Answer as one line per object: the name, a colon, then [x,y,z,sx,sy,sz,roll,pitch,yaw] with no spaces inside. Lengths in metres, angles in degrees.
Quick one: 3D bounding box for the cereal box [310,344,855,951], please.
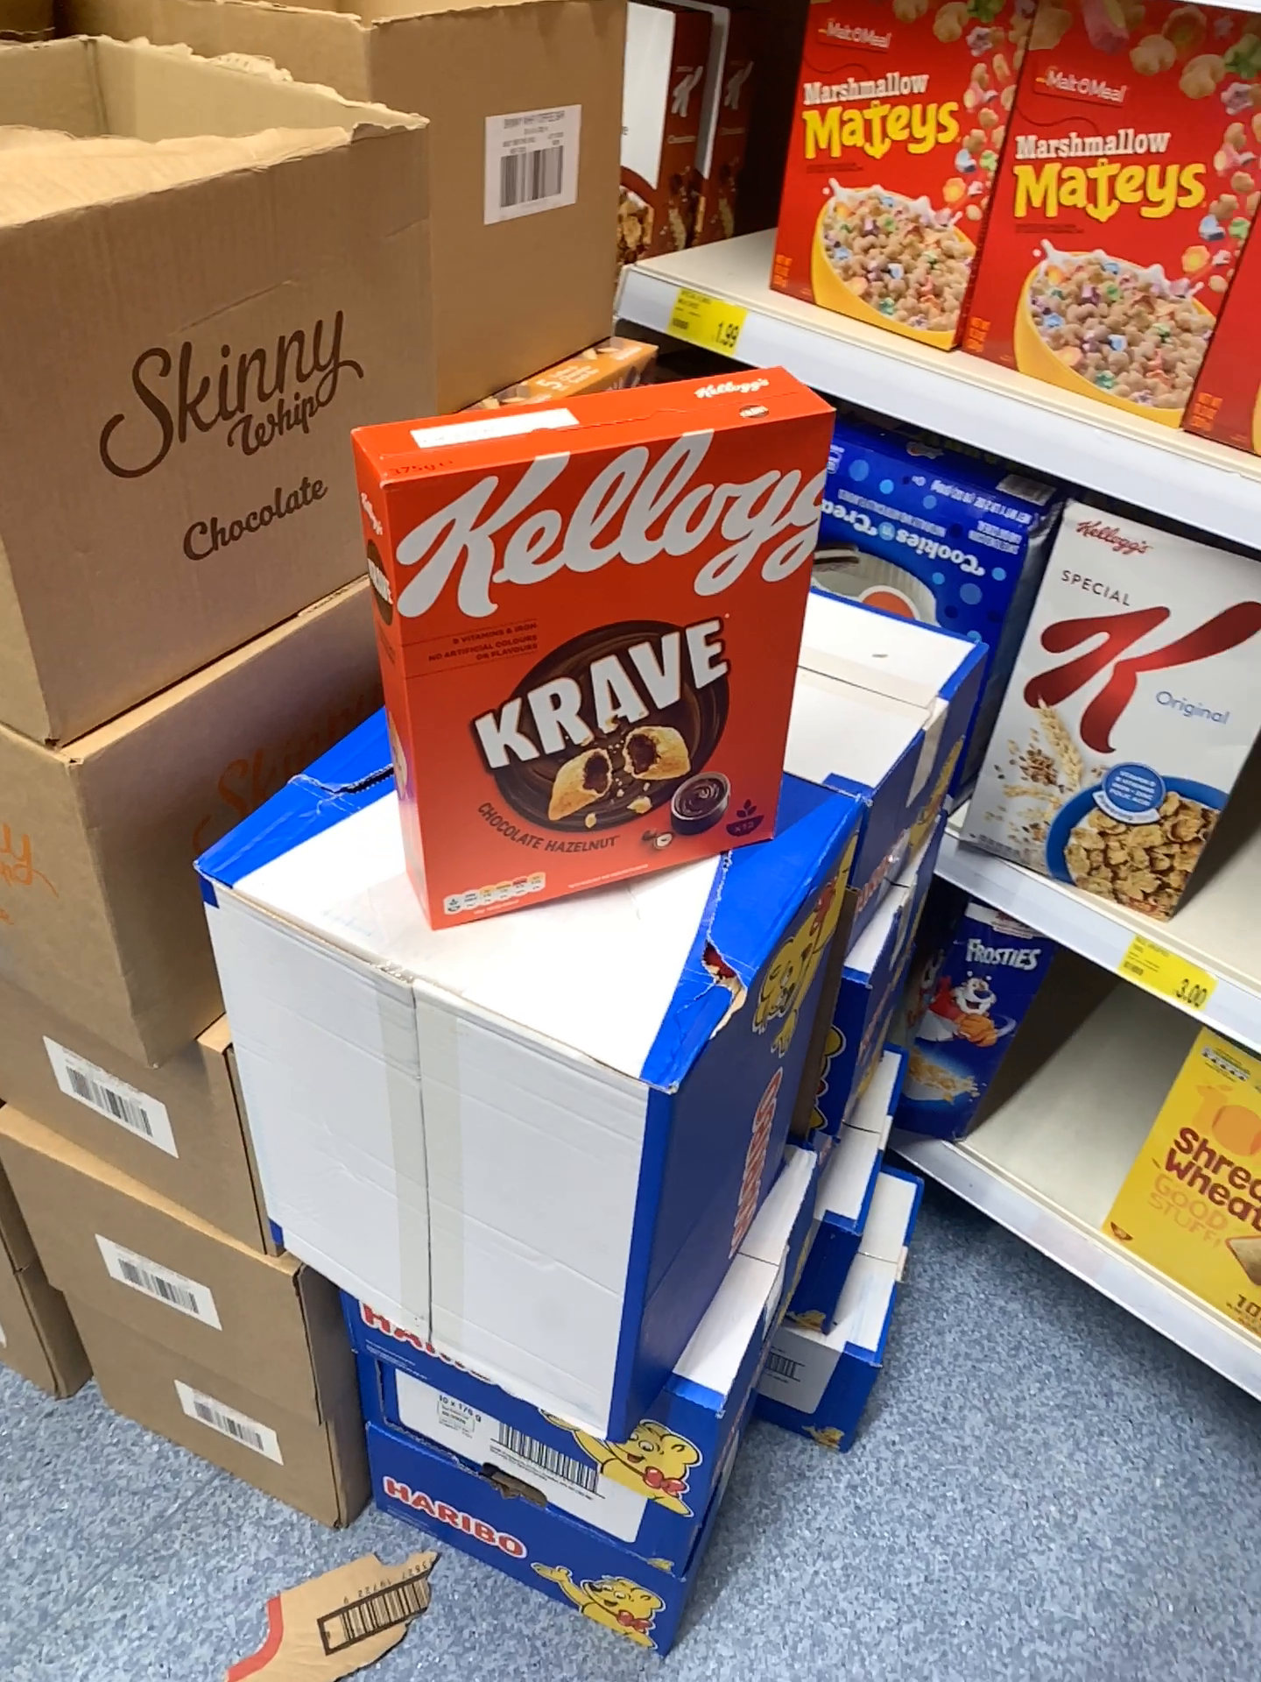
cereal box: [-0.021,-0.079,0.571,0.200,0.238,0.060,-14,45,-19]
